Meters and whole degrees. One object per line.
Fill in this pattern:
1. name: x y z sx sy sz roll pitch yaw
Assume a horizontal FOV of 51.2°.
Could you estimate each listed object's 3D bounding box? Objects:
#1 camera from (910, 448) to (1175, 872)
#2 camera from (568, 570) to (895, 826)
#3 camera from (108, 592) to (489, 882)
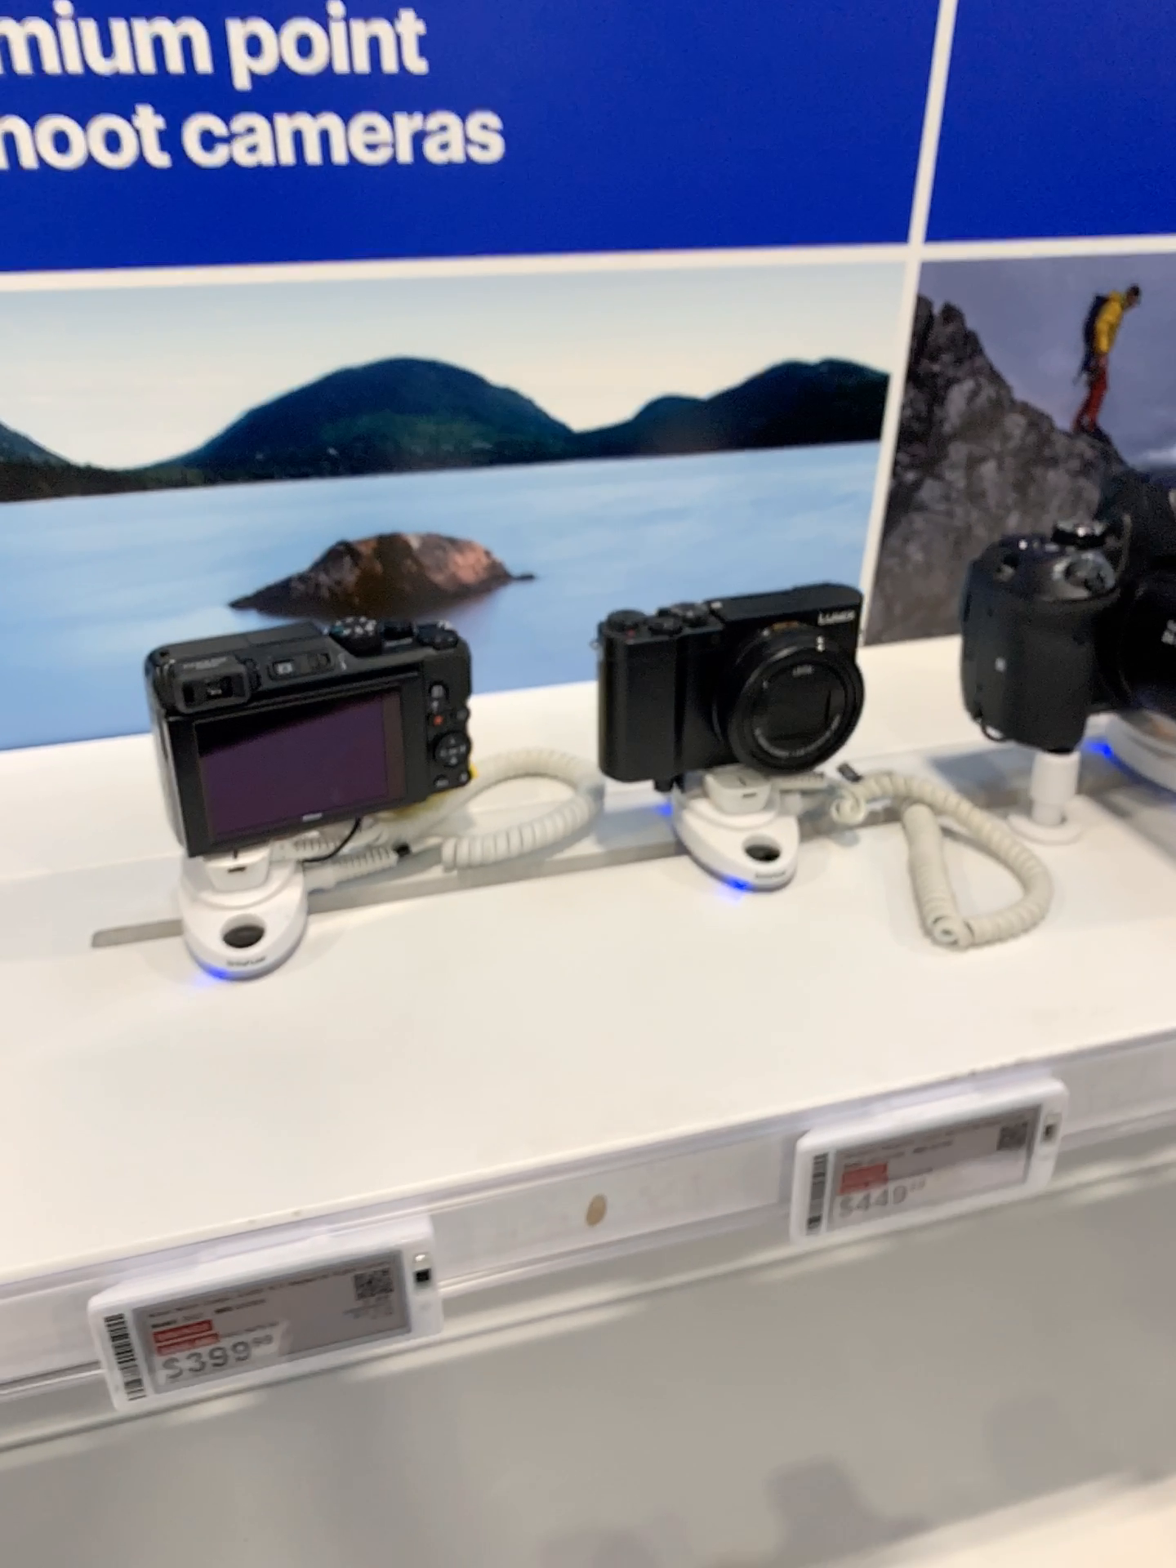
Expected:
1. camera: 0.241 -0.059 0.484 0.160 0.099 0.151 -9 29 -14
2. camera: 0.053 -0.035 0.472 0.110 0.070 0.050 -9 28 -14
3. camera: -0.103 -0.020 0.450 0.120 0.070 0.050 -13 30 -21
